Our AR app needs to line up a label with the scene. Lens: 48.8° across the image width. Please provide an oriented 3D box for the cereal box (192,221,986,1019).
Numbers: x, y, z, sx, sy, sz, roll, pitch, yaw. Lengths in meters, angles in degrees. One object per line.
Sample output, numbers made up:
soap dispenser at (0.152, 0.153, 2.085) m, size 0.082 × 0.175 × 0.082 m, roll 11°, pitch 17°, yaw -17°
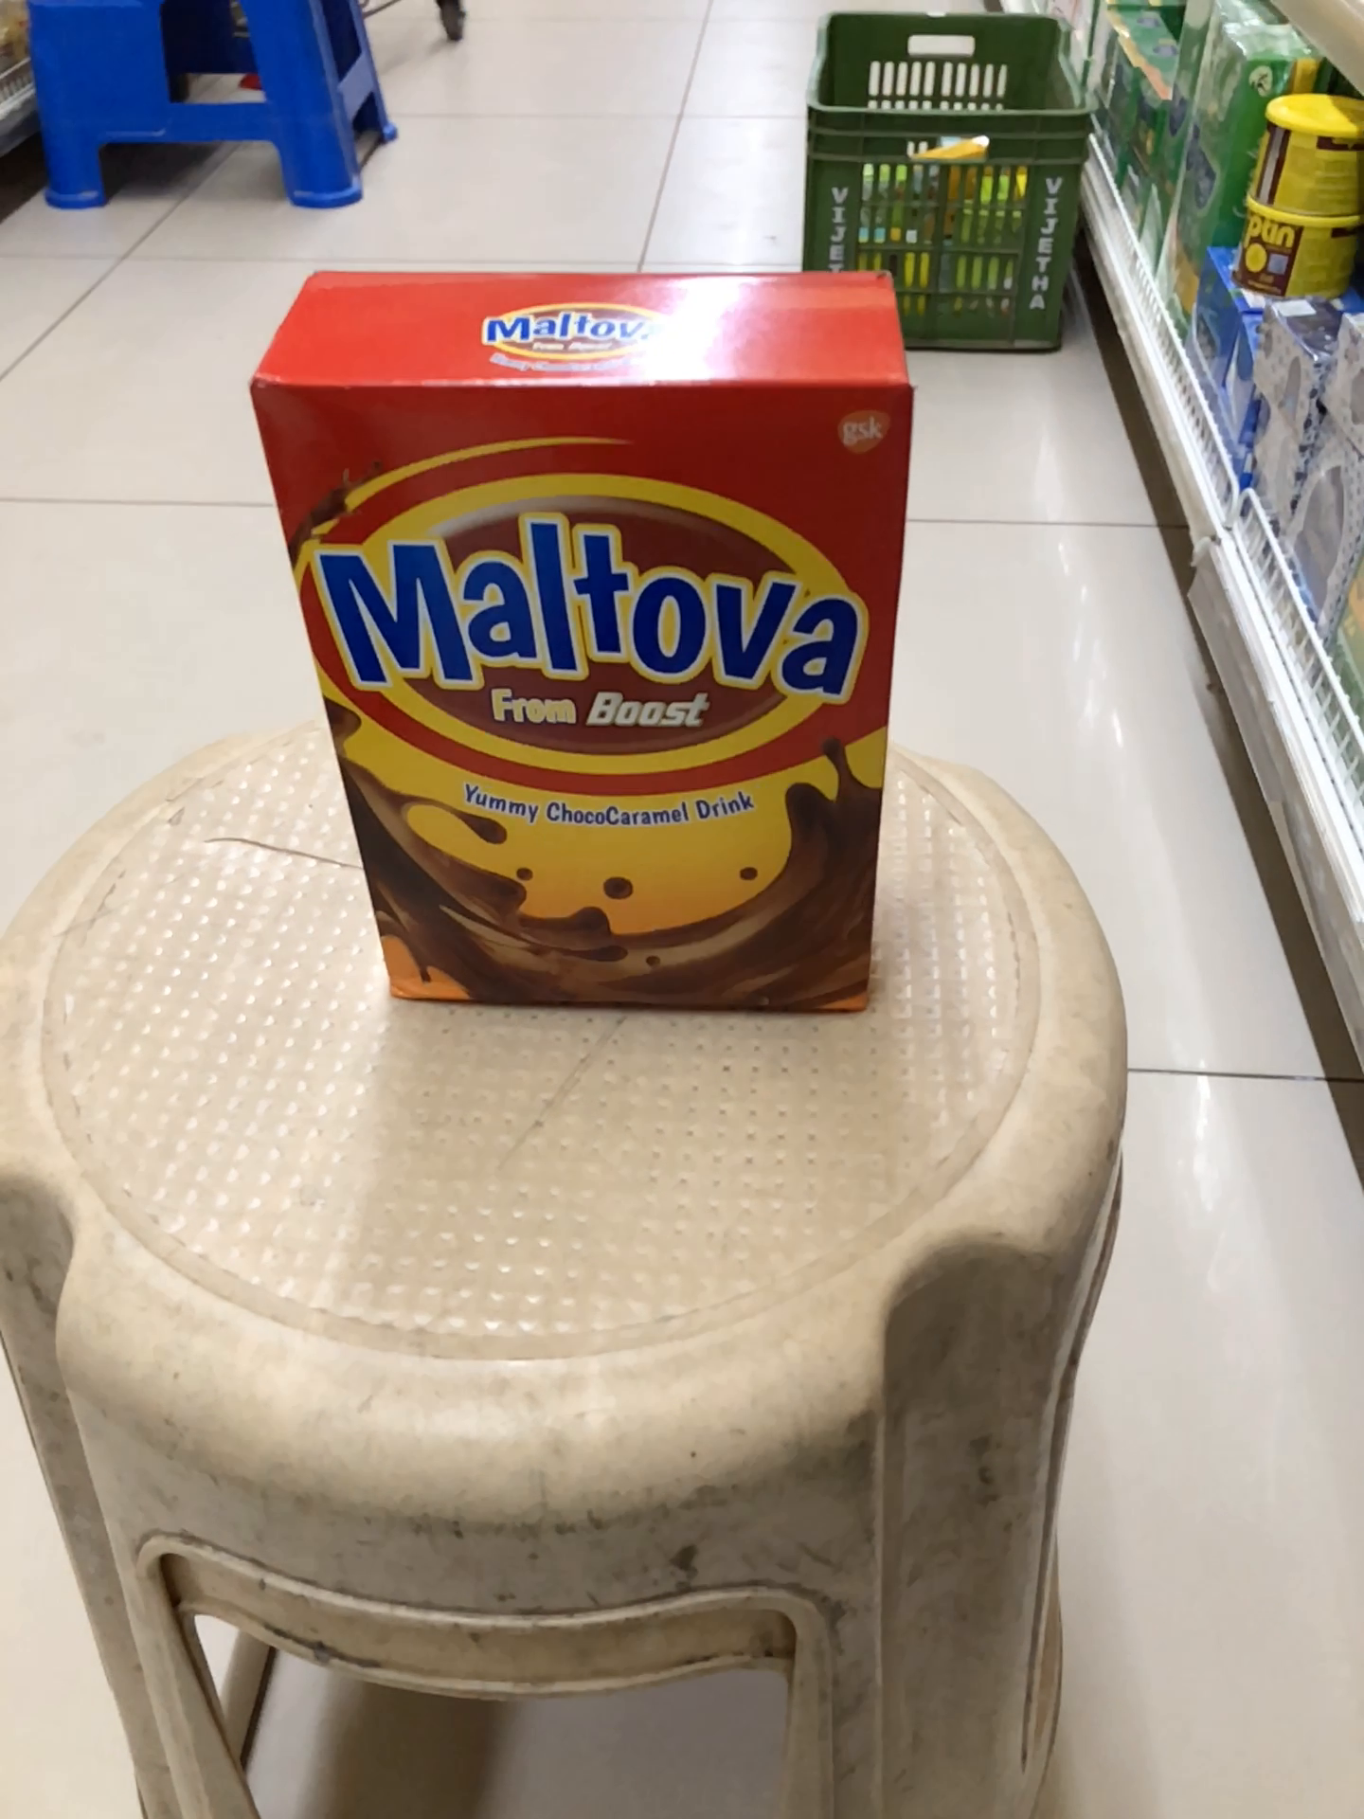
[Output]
cereal box at (-0.015, -0.063, 0.368) m, size 0.150 × 0.179 × 0.070 m, roll 1°, pitch 42°, yaw 3°
